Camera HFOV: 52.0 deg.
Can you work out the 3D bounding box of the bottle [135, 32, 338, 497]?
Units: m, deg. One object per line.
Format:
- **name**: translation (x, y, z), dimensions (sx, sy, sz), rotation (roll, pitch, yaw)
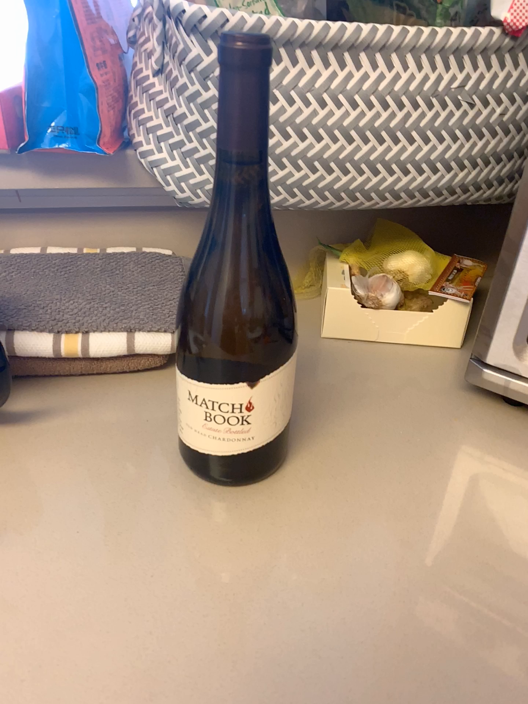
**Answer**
- **bottle**: translation (-0.015, -0.048, 0.370), dimensions (0.090, 0.288, 0.101), rotation (8, 32, 8)
